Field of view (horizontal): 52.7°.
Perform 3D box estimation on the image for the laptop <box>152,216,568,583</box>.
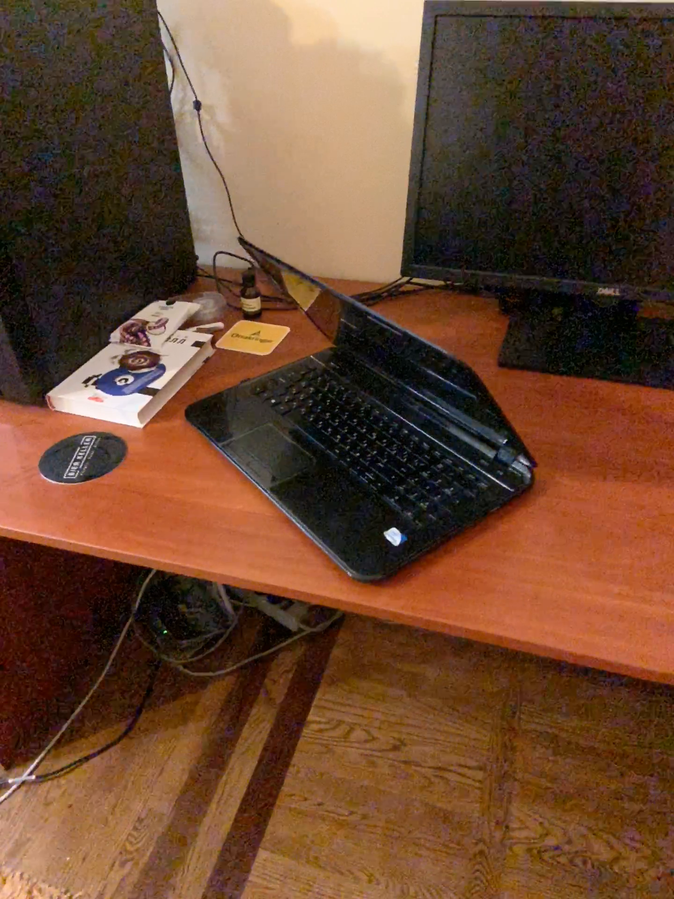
[{"bbox_3d":[0.006,-0.087,0.751,0.244,0.194,0.371,-26,43,-28],"label":"laptop"}]
